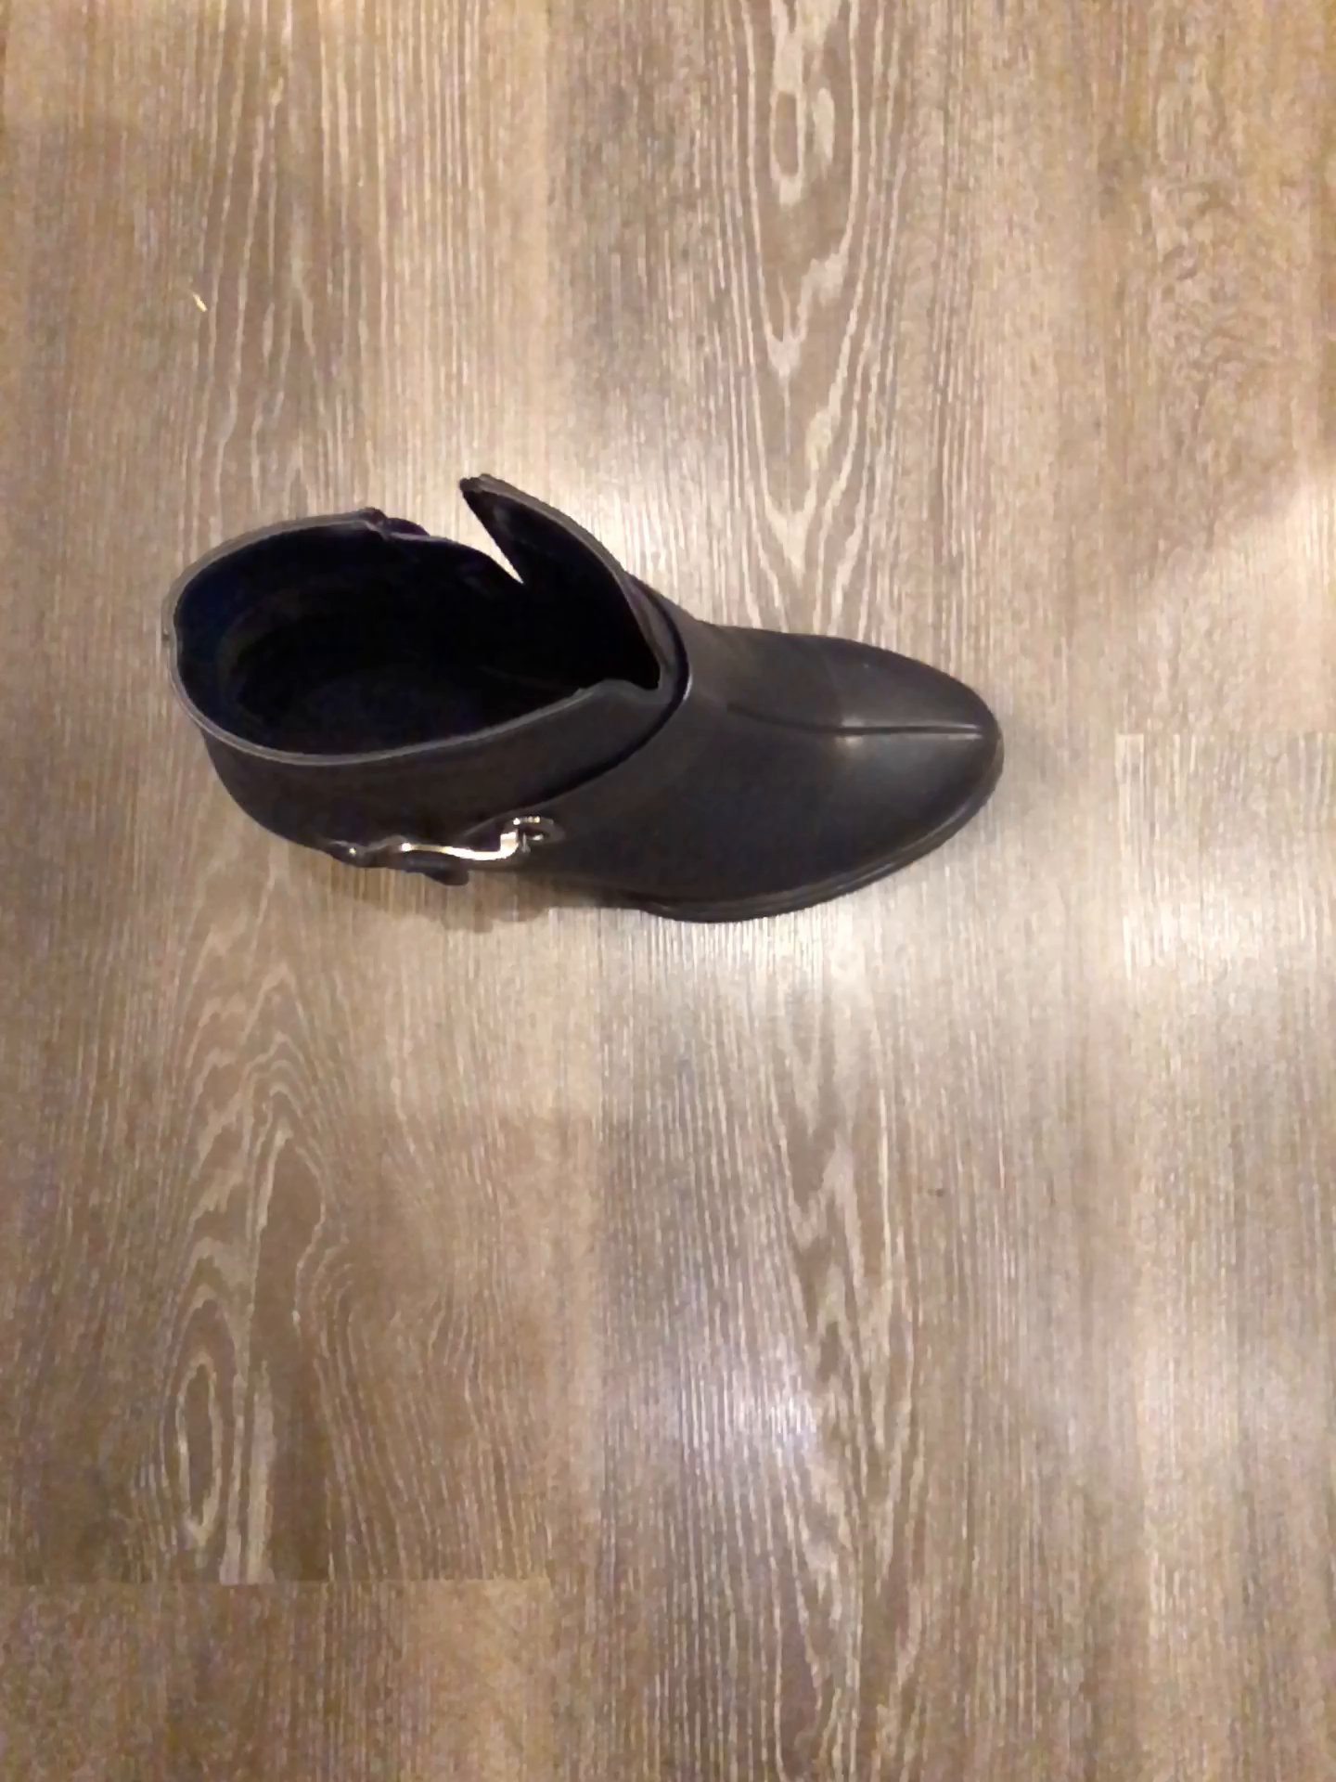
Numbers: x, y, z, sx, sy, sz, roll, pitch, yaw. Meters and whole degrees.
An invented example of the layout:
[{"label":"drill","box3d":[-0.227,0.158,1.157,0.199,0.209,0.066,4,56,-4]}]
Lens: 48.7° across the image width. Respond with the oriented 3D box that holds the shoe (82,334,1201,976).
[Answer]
[{"label":"shoe","box3d":[-0.003,-0.046,0.396,0.220,0.180,0.100,8,85,2]}]
